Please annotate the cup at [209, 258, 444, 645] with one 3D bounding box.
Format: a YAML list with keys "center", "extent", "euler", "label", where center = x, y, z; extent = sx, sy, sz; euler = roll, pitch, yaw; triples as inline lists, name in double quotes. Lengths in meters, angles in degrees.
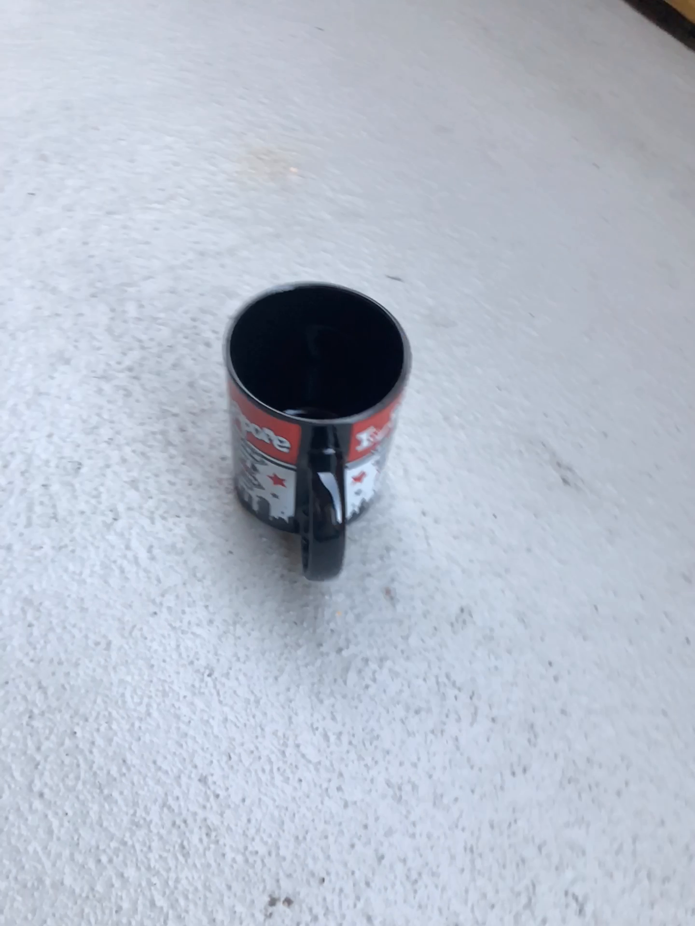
- center: [-0.016, -0.004, 0.343]
  extent: [0.080, 0.110, 0.130]
  euler: [-1, 56, -7]
  label: "cup"
